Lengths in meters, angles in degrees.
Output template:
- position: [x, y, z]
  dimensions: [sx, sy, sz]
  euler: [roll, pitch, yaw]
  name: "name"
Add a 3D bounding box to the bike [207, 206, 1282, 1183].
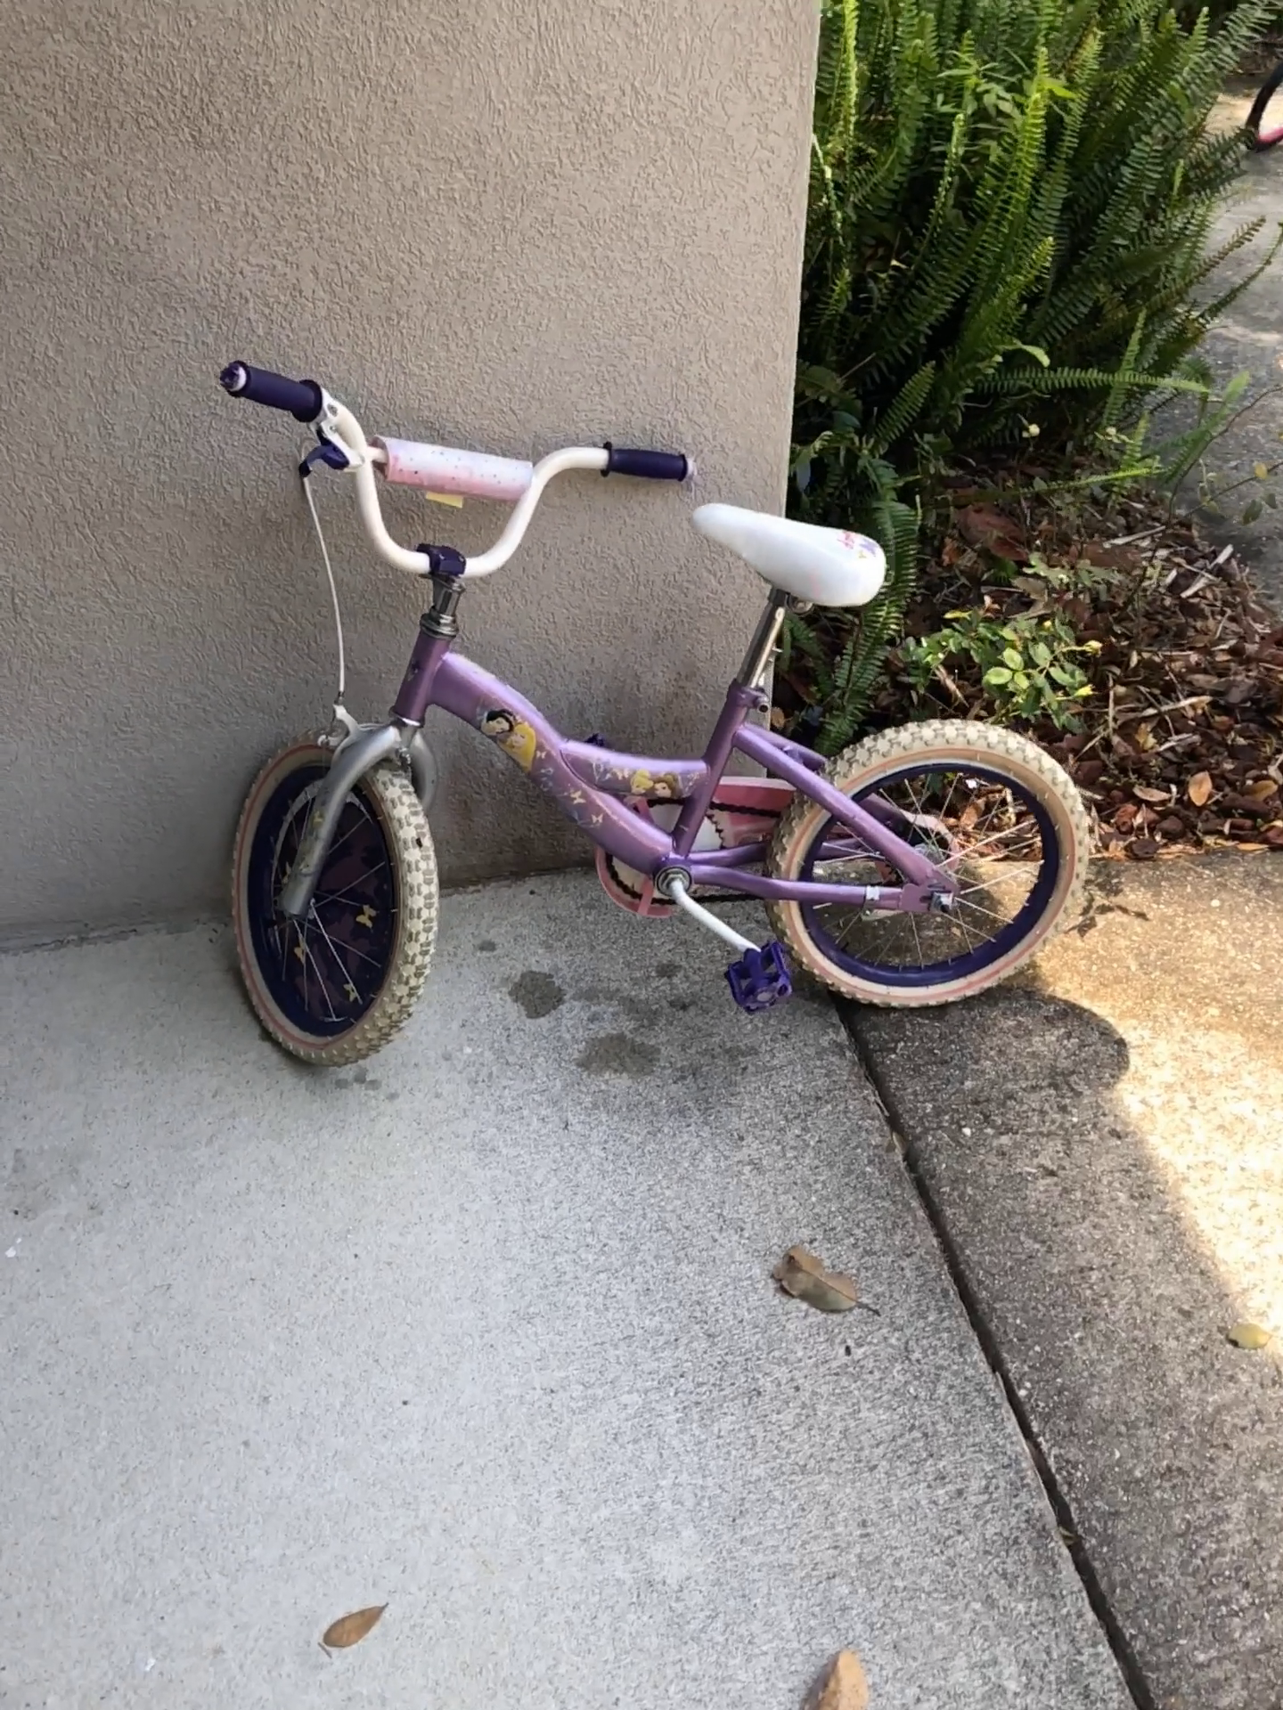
- position: [0.091, -0.175, 1.545]
  dimensions: [0.845, 0.816, 0.619]
  euler: [-3, 40, -3]
  name: "bike"
